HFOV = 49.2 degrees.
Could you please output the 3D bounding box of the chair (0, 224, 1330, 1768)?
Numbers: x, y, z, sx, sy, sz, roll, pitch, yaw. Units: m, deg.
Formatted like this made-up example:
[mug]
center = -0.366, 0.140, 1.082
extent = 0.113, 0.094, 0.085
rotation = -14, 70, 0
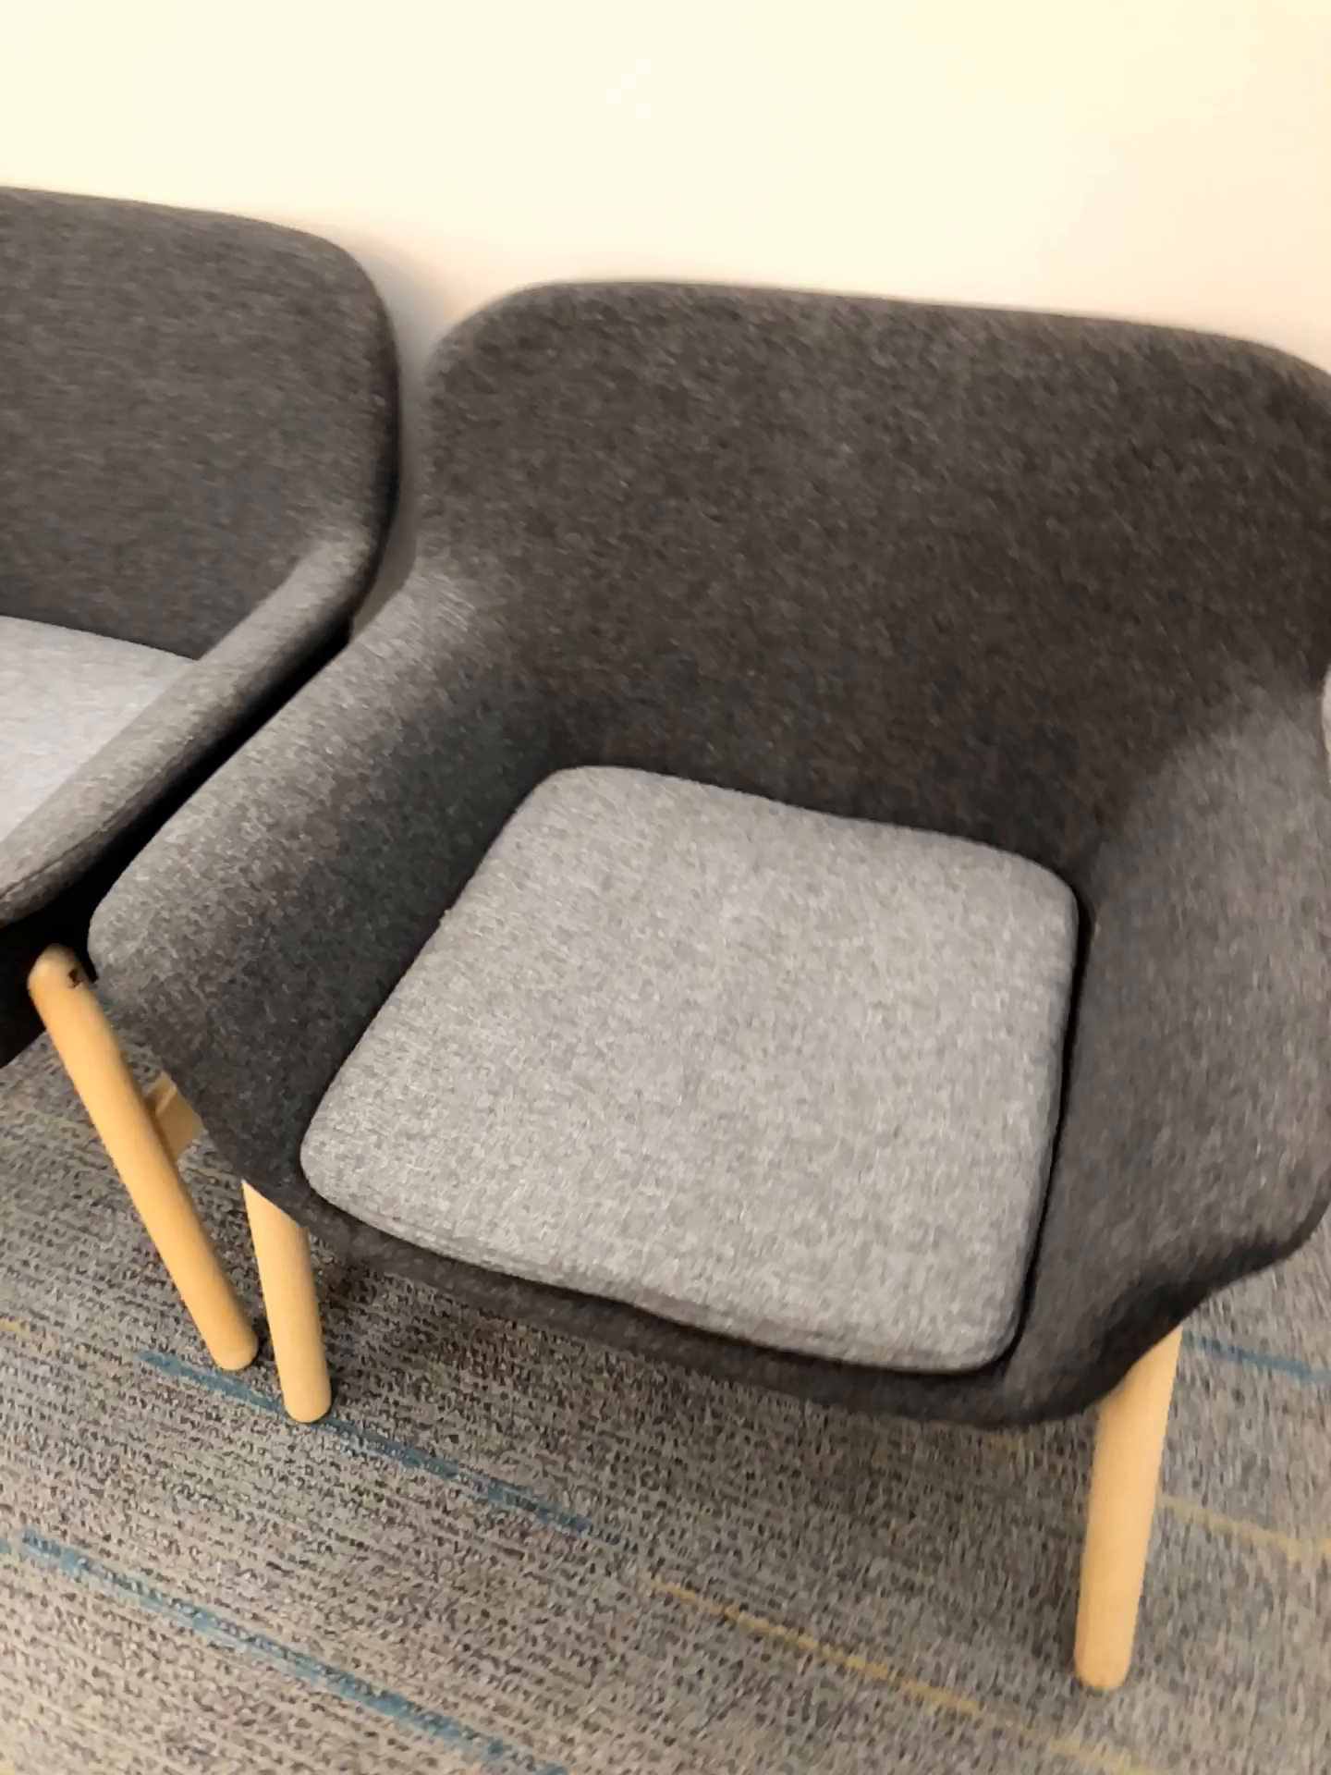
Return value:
[chair]
center = 0.119, 0.067, 1.193
extent = 0.741, 0.835, 0.734
rotation = 15, 49, 18
